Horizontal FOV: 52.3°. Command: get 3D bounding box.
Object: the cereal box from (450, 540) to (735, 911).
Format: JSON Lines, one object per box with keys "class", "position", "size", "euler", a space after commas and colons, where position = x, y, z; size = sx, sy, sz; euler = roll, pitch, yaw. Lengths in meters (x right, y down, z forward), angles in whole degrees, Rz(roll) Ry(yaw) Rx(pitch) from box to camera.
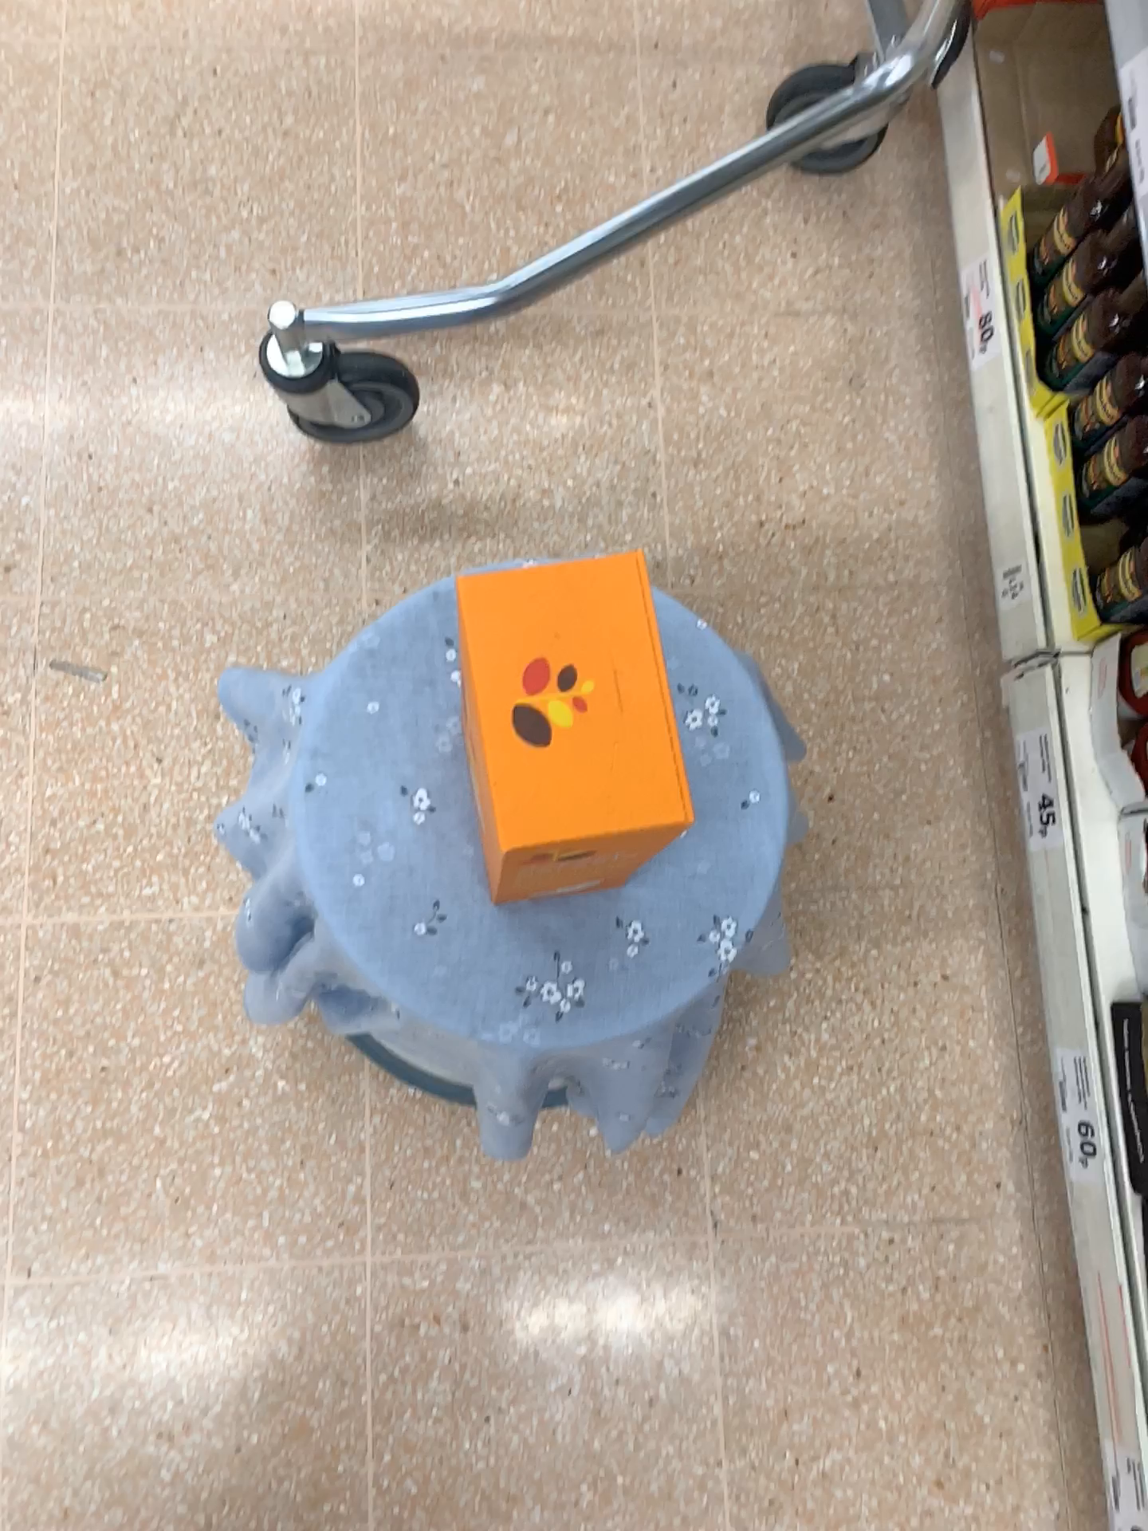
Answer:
{"class": "cereal box", "position": [-0.003, -0.004, 0.570], "size": [0.090, 0.230, 0.120], "euler": [-10, 80, -7]}
